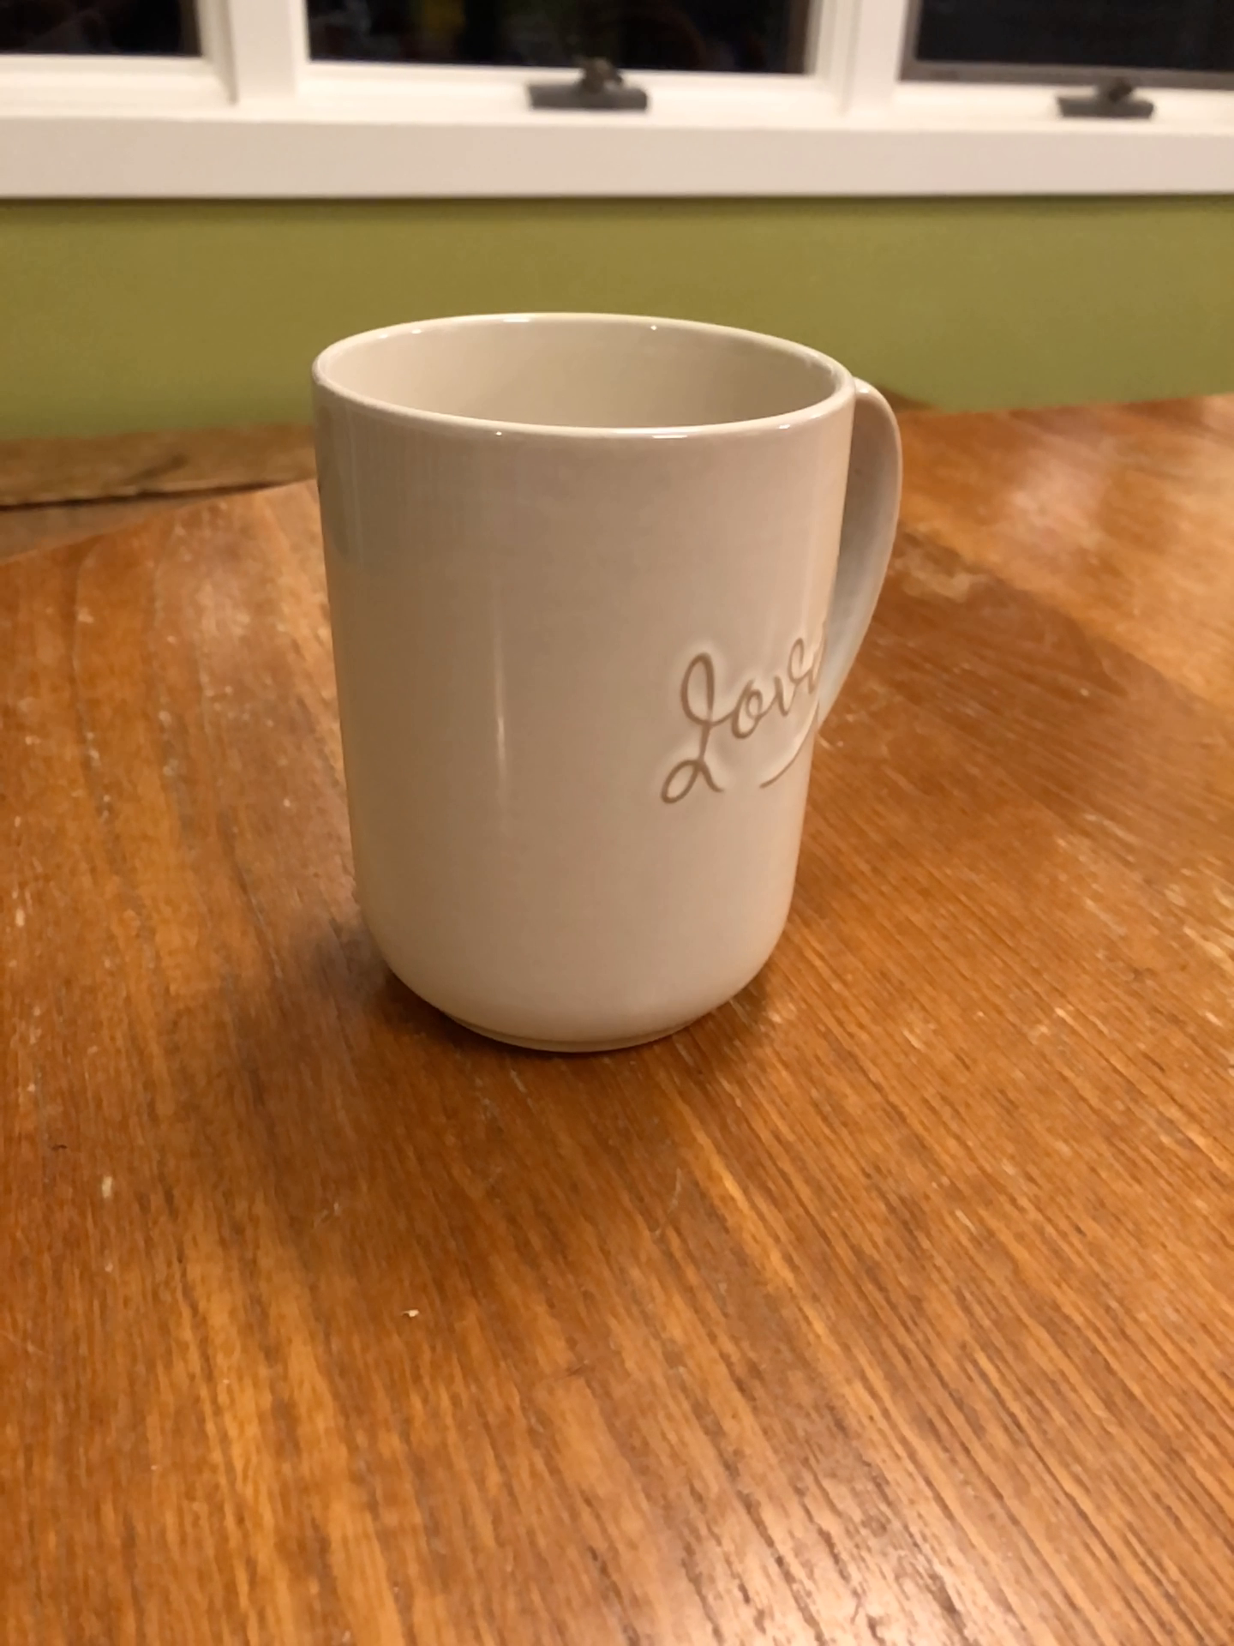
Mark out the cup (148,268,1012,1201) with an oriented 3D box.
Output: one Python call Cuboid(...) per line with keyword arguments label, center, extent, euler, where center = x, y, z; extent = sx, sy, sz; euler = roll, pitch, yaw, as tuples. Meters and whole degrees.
Cuboid(label="cup", center=(0.000, -0.031, 0.272), extent=(0.092, 0.124, 0.135), euler=(20, 35, 27))
